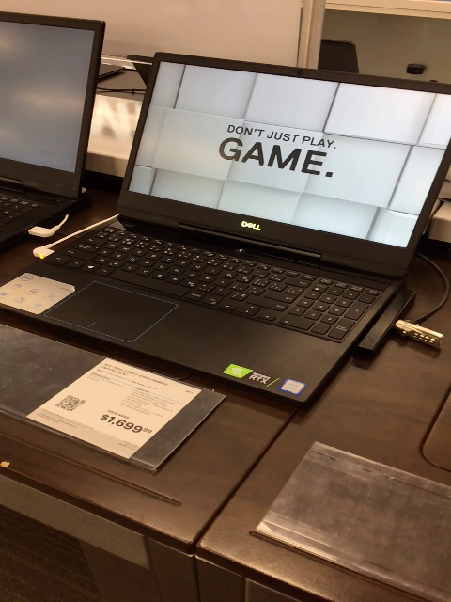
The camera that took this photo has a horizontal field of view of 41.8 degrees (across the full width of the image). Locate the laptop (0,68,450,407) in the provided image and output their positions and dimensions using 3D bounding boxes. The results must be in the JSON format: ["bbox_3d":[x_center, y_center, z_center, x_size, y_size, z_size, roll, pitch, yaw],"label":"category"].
[{"bbox_3d":[0.003,-0.093,0.579,0.346,0.175,0.314,20,43,26],"label":"laptop"}]
